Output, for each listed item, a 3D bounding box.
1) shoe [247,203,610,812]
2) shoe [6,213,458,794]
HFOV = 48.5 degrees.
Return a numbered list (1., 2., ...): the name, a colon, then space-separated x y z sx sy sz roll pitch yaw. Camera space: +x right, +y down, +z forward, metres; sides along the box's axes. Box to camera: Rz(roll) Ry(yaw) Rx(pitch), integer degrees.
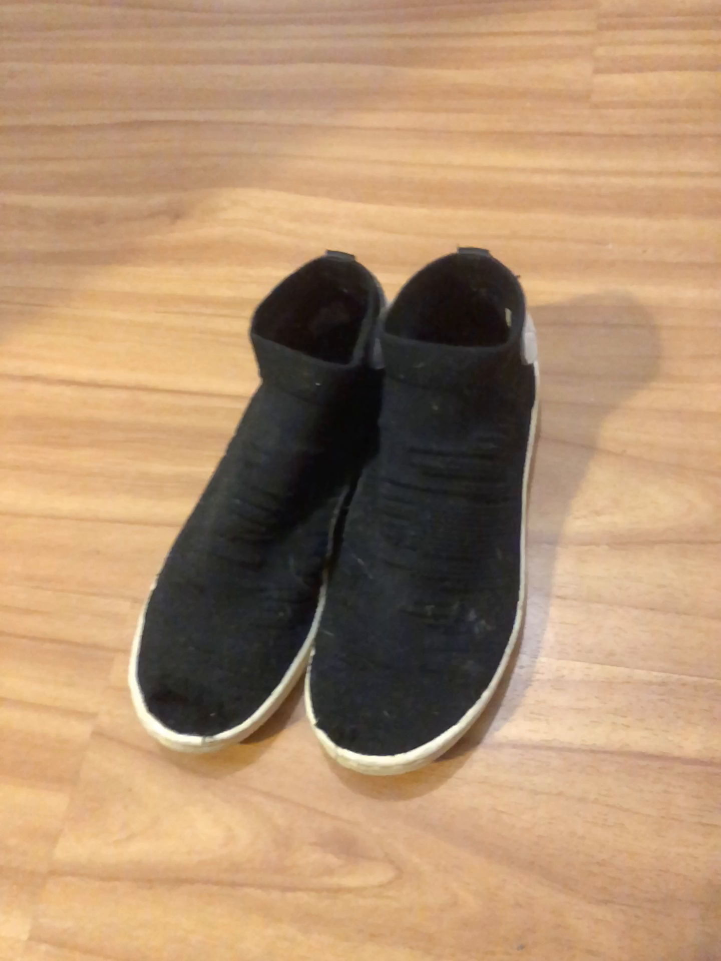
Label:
1. shoe: 0.045 0.006 0.383 0.100 0.100 0.261 10 66 14
2. shoe: -0.044 0.006 0.407 0.100 0.100 0.261 17 68 17
